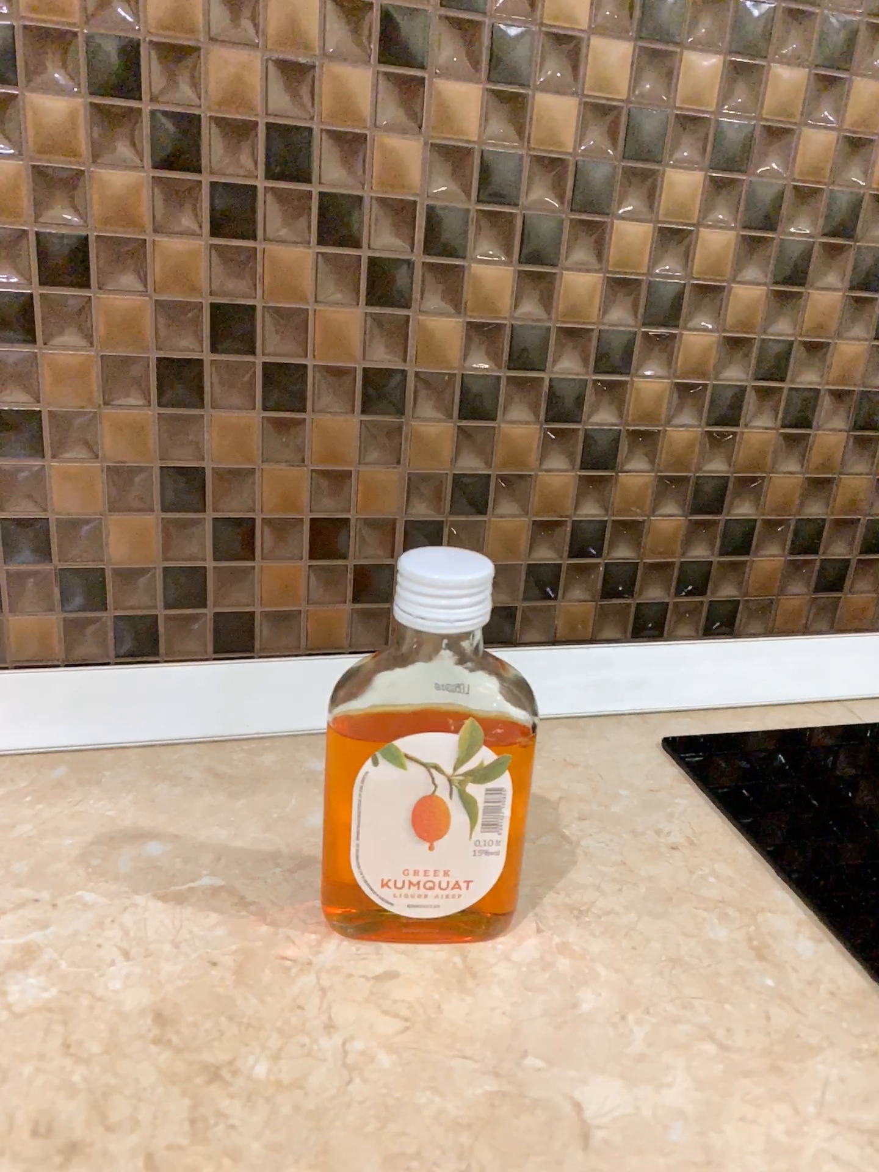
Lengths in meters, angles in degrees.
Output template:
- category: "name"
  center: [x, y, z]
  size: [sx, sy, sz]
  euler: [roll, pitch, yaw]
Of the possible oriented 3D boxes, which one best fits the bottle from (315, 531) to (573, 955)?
- category: "bottle"
  center: [-0.002, 0.054, 0.302]
  size: [0.070, 0.133, 0.040]
  euler: [3, 20, -4]
